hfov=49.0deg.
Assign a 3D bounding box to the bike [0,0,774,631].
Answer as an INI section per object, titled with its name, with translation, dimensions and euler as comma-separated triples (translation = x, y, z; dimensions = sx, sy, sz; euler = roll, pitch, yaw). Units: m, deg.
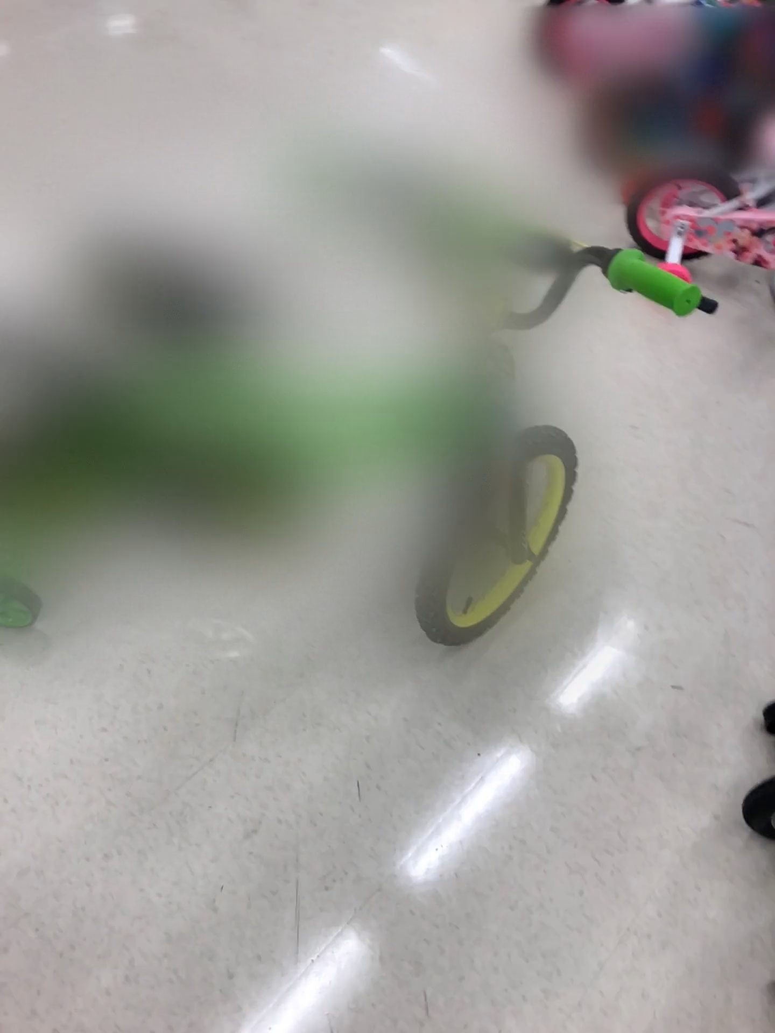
[bike]
translation = -0.133, -0.289, 1.138
dimensions = 1.044, 0.807, 0.555
euler = 3, 54, -8
